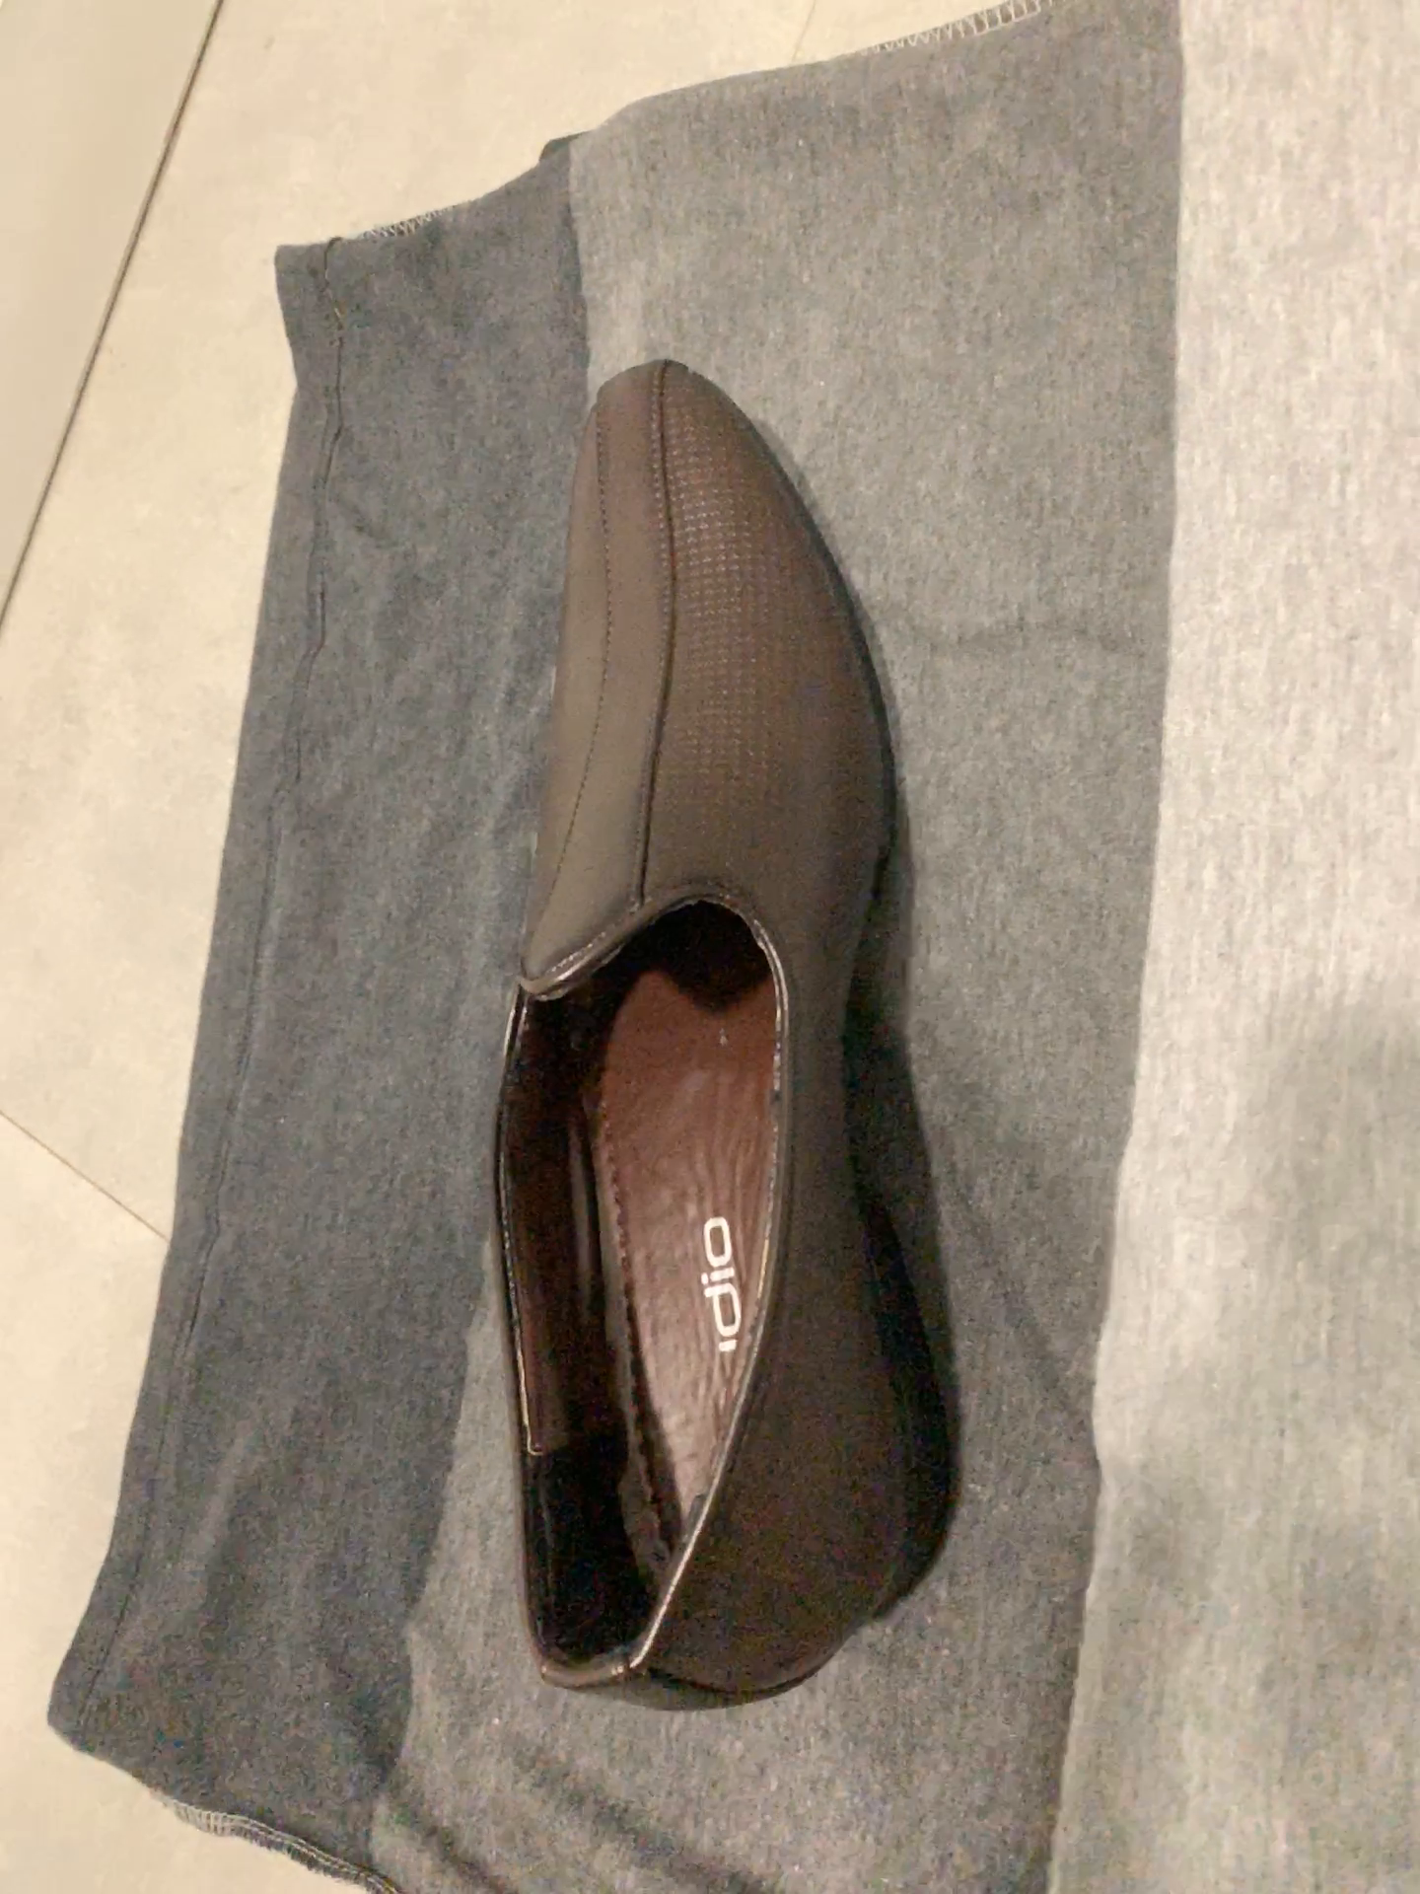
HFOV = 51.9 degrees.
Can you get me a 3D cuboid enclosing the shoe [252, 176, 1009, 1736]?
[{"bbox_3d":[-0.022,0.002,0.310,0.100,0.100,0.270,-14,73,30],"label":"shoe"}]
